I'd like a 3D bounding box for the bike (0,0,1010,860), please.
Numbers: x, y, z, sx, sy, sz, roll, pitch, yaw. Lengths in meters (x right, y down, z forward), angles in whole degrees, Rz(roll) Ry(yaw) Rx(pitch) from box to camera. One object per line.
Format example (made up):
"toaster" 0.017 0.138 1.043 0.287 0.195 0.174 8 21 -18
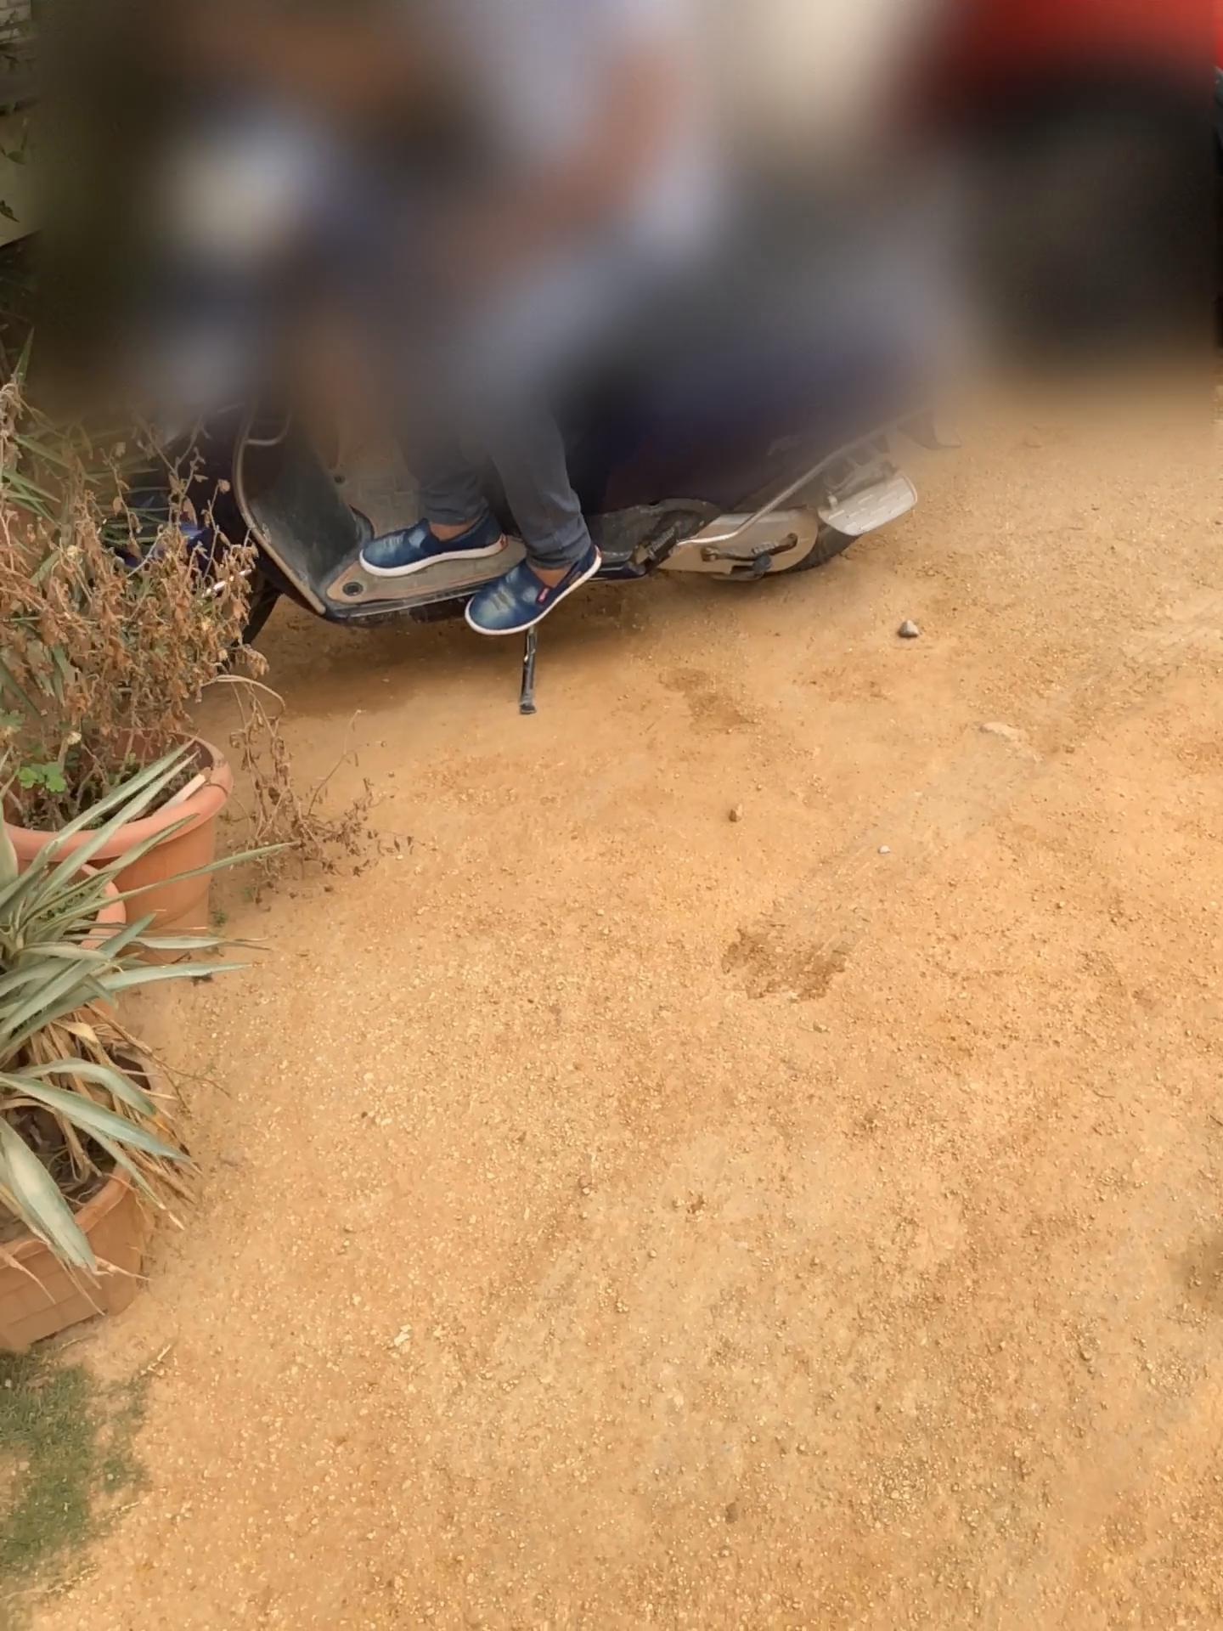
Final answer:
"bike" -0.218 -0.758 2.384 1.622 1.222 0.590 -15 36 -9
